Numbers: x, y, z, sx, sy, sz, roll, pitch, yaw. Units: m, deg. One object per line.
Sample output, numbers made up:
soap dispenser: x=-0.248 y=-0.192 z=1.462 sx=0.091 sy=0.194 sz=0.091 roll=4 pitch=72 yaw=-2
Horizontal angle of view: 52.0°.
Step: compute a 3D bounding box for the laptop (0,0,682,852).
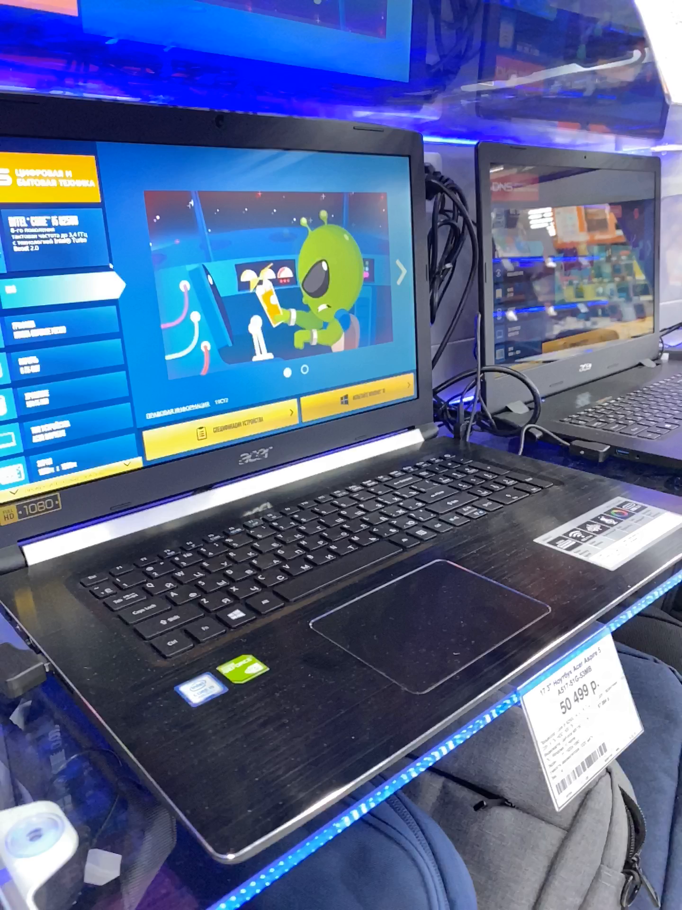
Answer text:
laptop: x=0.019 y=-0.079 z=0.435 sx=0.424 sy=0.278 sz=0.311 roll=-16 pitch=23 yaw=-39
